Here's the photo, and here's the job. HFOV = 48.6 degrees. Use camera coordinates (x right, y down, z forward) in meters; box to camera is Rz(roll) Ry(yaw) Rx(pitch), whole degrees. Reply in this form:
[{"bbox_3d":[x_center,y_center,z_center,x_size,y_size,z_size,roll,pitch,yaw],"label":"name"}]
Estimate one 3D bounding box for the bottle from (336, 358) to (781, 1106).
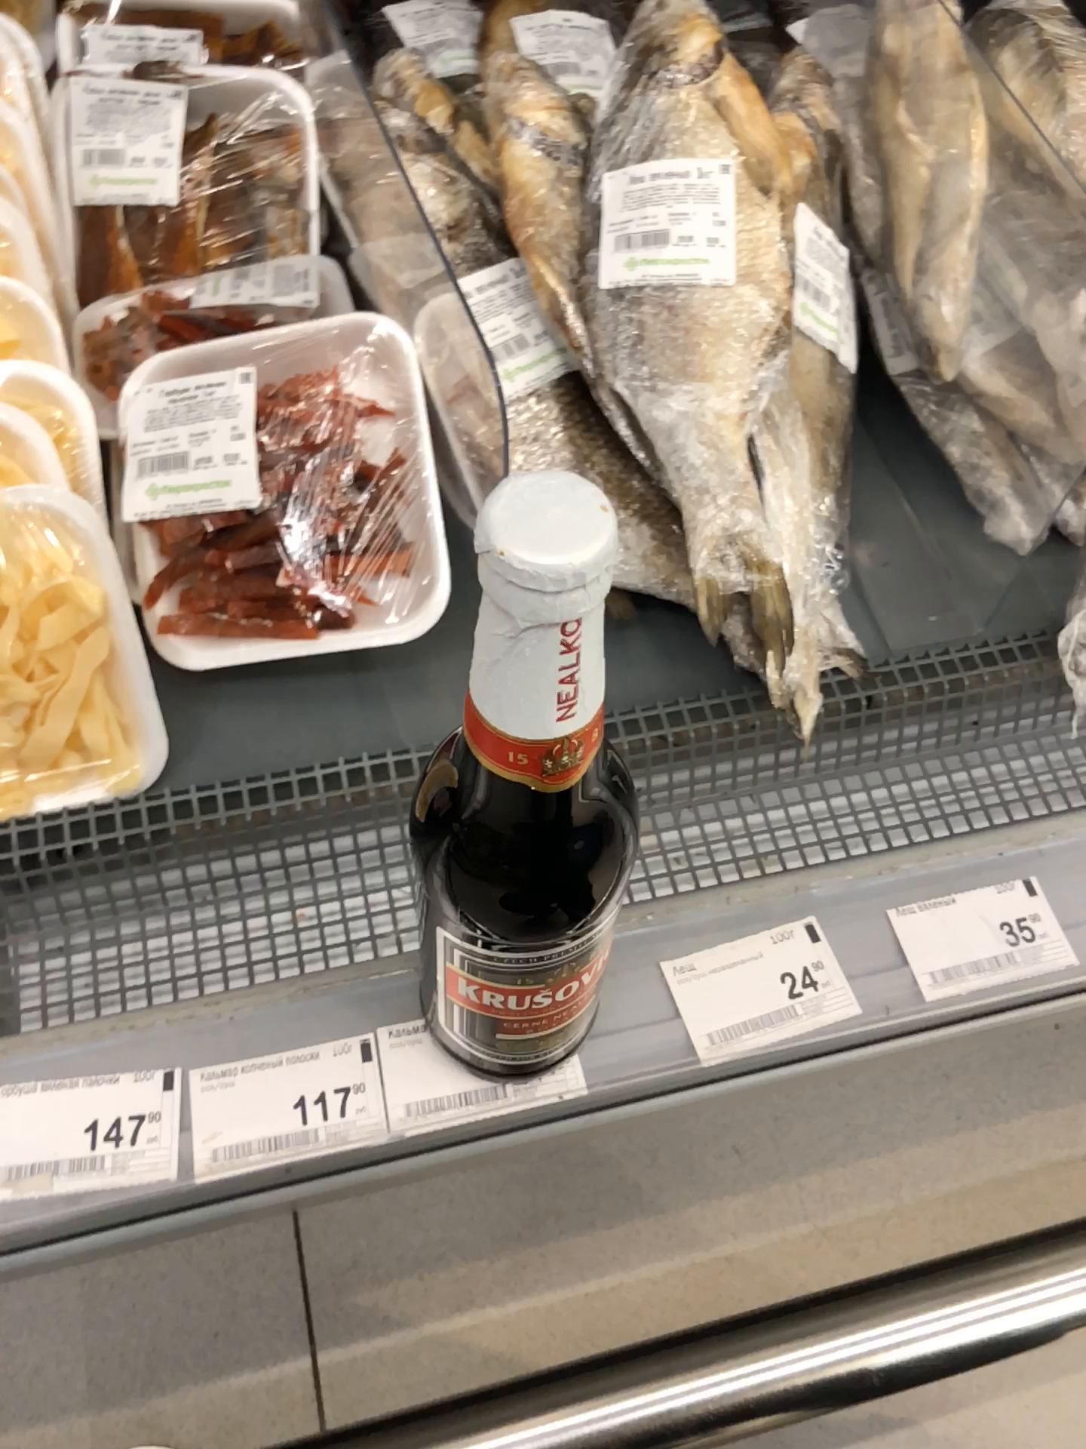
[{"bbox_3d":[-0.006,0.029,0.350,0.070,0.269,0.070,2,57,-3],"label":"bottle"}]
